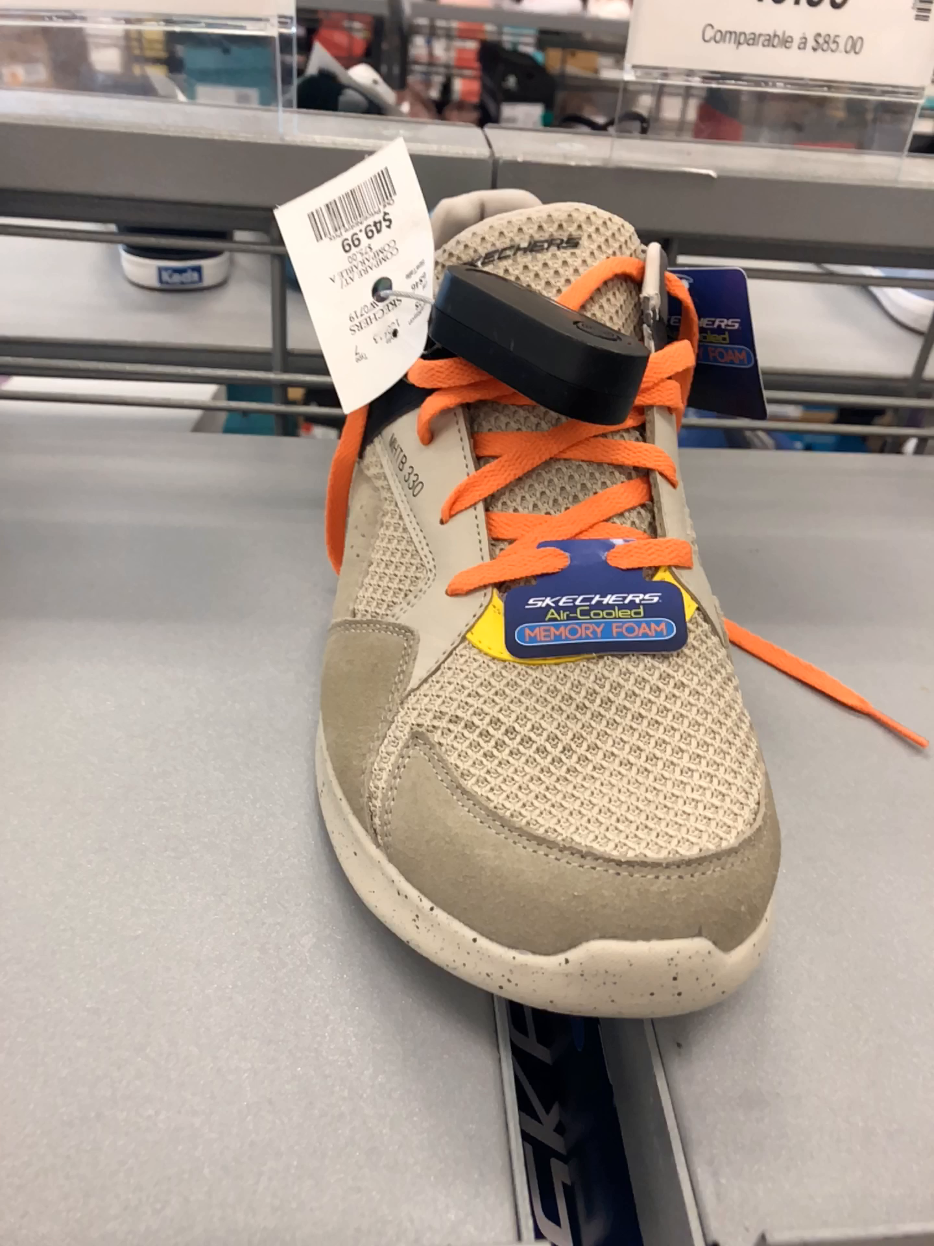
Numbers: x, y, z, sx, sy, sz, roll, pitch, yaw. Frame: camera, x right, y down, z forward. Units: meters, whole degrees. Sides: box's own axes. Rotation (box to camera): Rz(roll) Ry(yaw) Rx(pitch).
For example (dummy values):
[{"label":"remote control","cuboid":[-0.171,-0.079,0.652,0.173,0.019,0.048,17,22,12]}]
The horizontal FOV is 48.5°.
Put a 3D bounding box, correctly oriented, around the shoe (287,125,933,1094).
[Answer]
[{"label":"shoe","cuboid":[0.015,-0.039,0.291,0.125,0.109,0.282,-1,40,-10]}]
